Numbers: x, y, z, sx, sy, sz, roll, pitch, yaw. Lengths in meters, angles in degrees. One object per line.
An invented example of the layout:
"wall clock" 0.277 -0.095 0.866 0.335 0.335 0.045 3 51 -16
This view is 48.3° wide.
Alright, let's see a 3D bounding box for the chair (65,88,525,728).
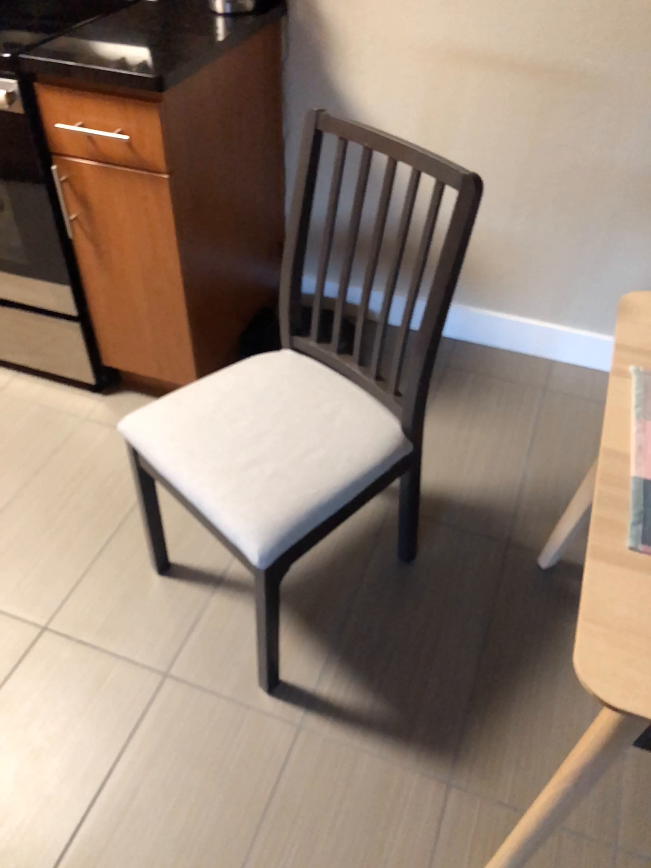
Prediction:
"chair" -0.064 0.001 1.481 0.511 1.125 0.481 -28 50 -28
